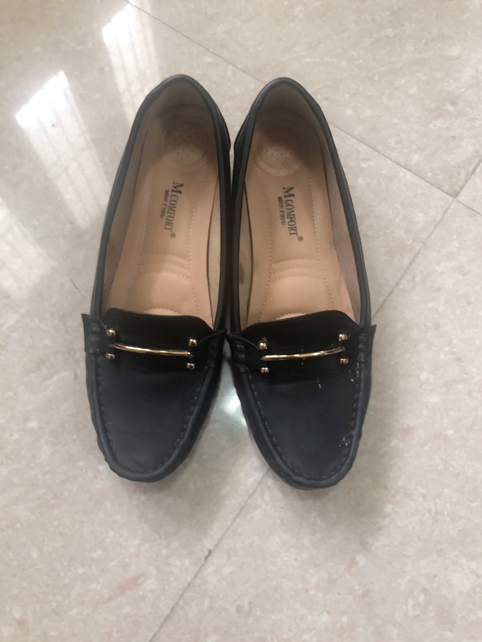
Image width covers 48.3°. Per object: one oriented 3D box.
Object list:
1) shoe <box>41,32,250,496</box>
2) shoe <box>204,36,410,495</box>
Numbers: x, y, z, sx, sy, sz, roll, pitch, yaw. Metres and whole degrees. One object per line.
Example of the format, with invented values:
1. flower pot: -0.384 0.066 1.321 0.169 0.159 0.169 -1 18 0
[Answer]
1. shoe: -0.051 -0.044 0.375 0.100 0.080 0.310 3 73 0
2. shoe: 0.033 -0.044 0.380 0.100 0.080 0.310 -3 73 -2
